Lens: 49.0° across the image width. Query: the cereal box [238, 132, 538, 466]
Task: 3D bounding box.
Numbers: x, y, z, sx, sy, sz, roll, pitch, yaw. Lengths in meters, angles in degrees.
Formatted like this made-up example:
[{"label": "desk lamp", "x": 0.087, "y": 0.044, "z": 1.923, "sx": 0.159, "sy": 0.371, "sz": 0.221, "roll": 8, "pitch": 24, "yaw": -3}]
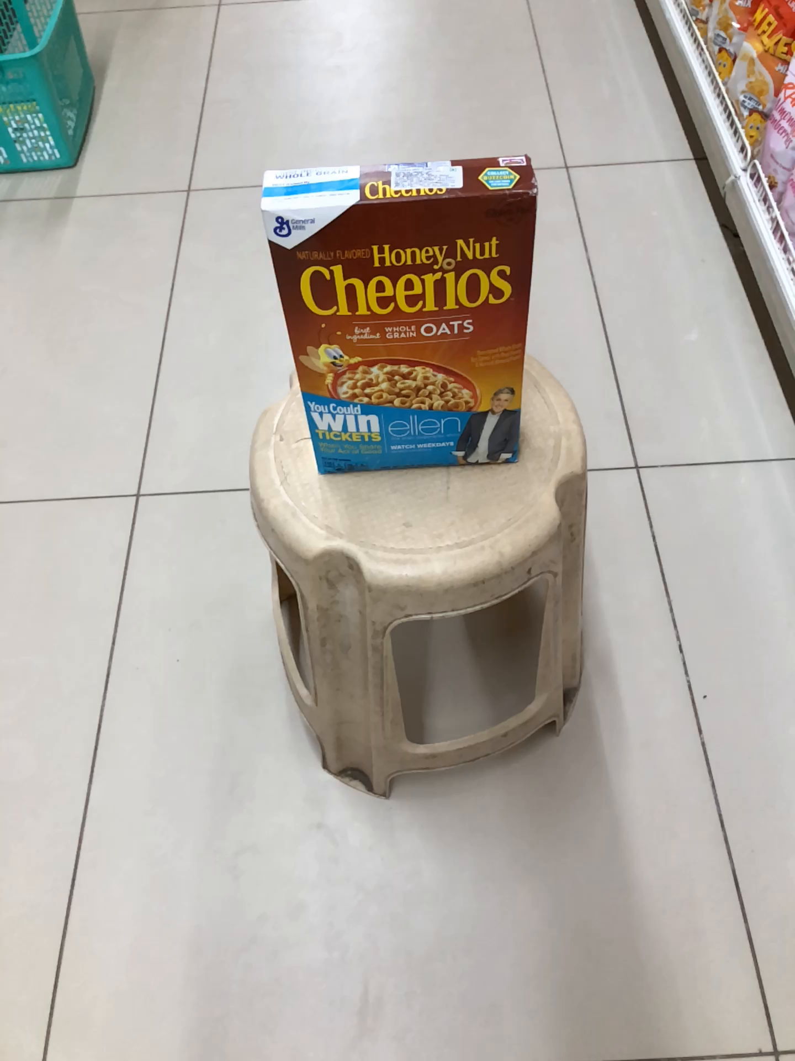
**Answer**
[{"label": "cereal box", "x": -0.003, "y": -0.161, "z": 0.682, "sx": 0.190, "sy": 0.279, "sz": 0.050, "roll": -3, "pitch": 56, "yaw": 0}]
